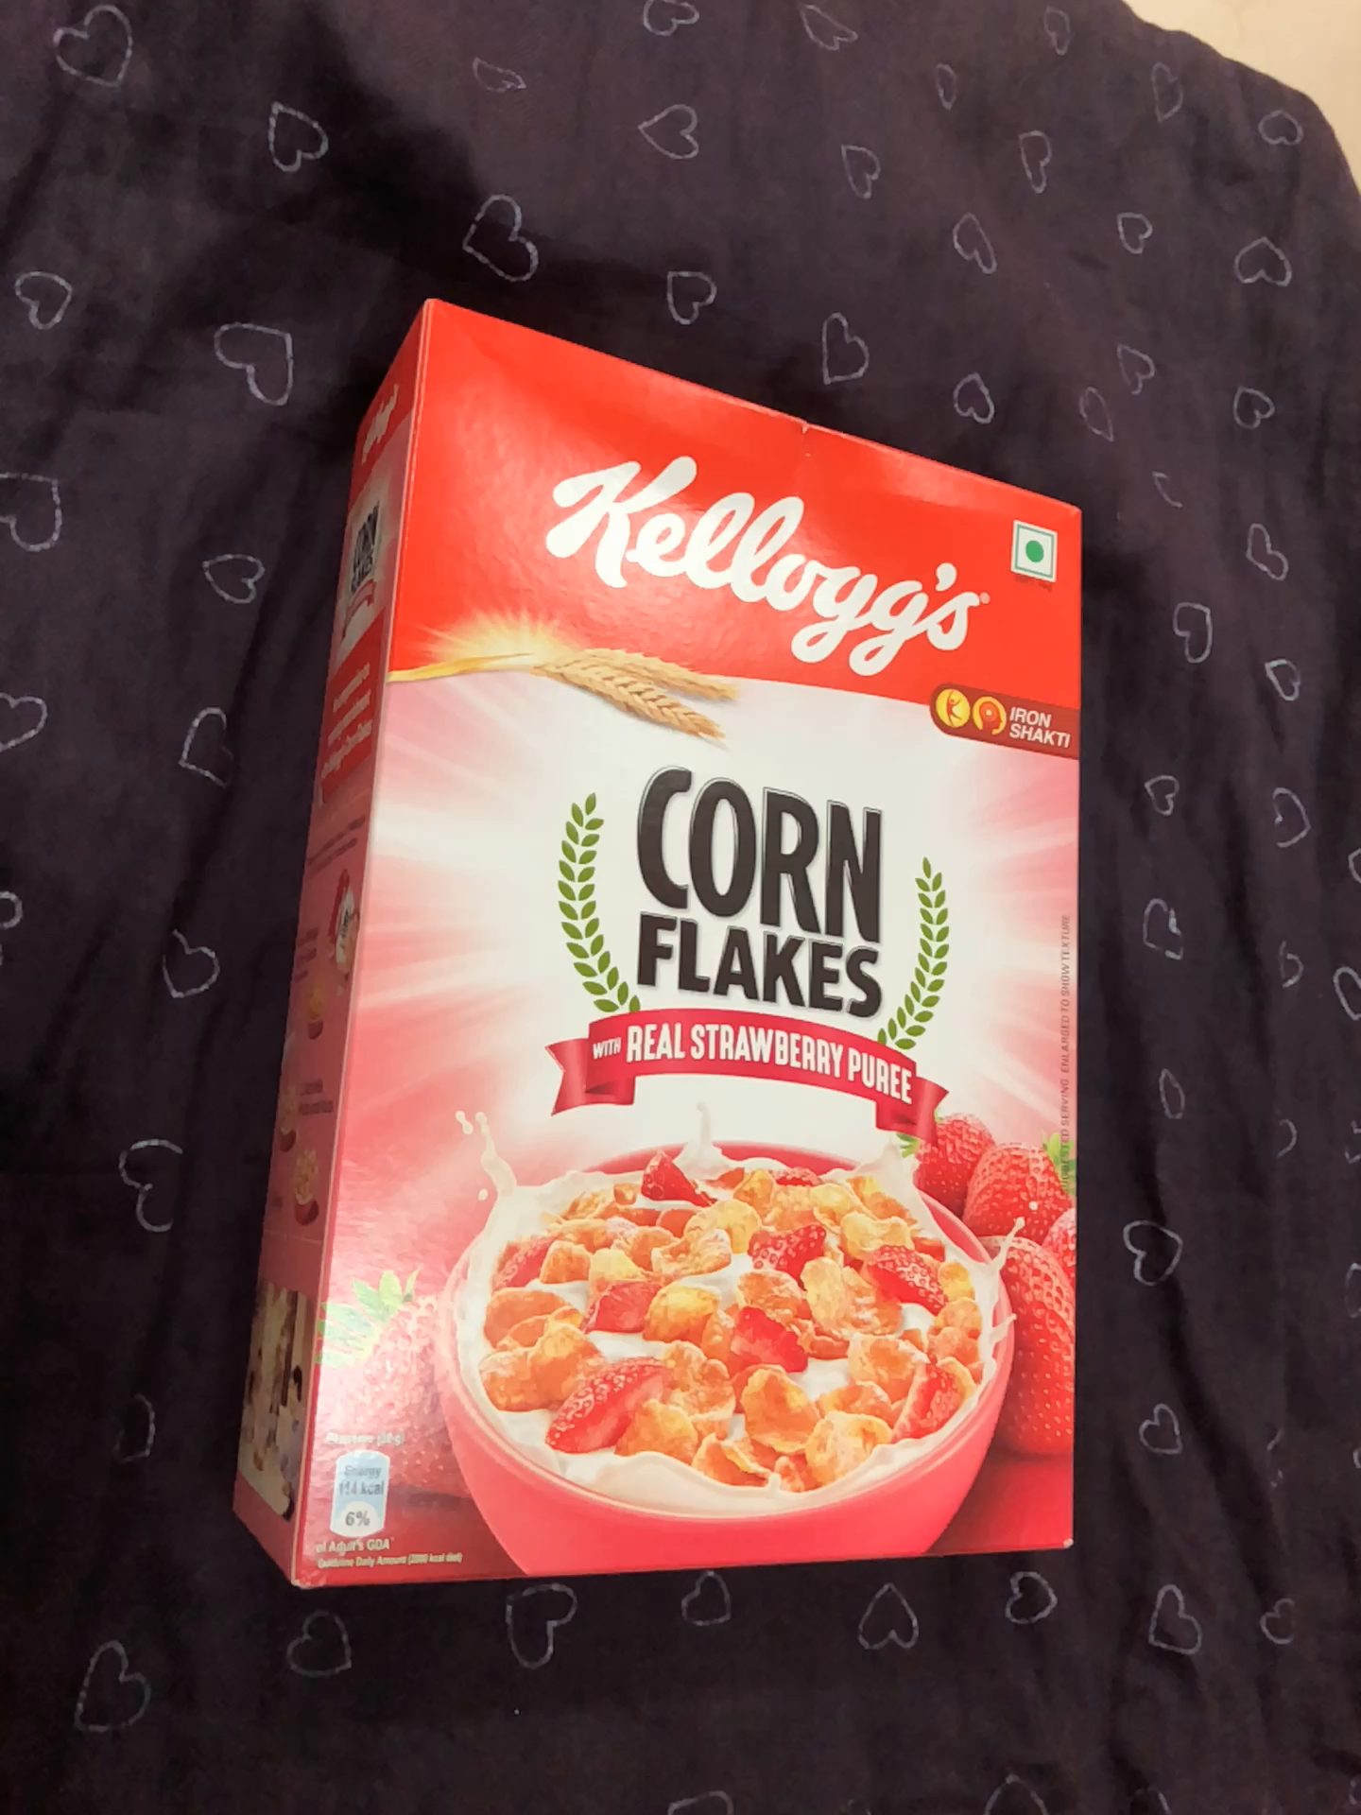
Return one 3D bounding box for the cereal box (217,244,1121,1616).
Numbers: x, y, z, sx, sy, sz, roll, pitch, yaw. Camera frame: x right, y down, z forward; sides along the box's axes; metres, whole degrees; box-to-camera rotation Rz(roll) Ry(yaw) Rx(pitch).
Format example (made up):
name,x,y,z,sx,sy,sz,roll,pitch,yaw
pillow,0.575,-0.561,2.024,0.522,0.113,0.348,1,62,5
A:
name,x,y,z,sx,sy,sz,roll,pitch,yaw
cereal box,0.008,0.011,0.363,0.190,0.070,0.270,9,78,-26
